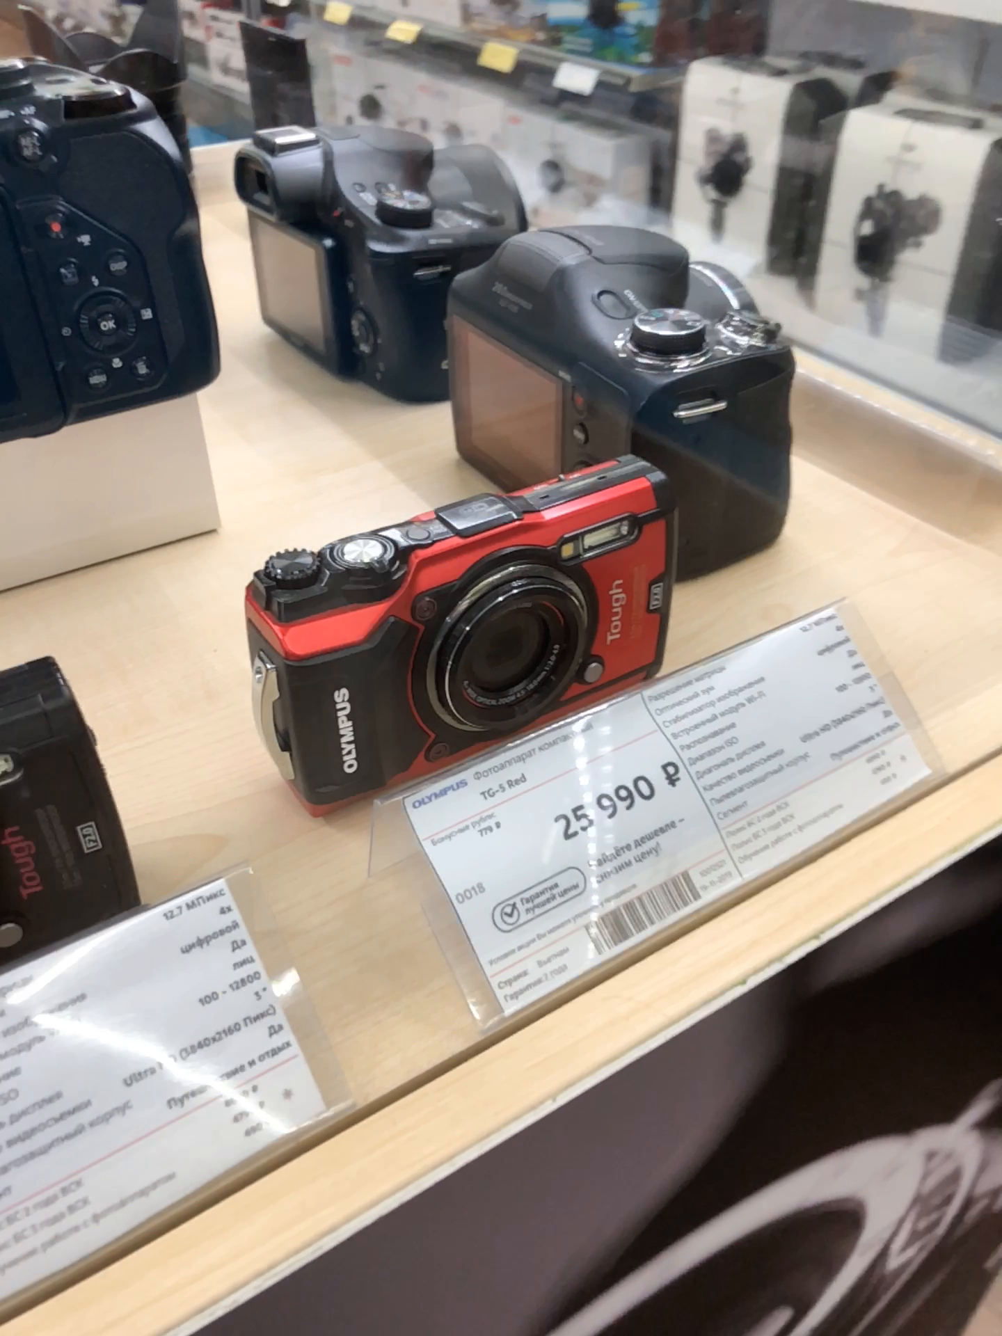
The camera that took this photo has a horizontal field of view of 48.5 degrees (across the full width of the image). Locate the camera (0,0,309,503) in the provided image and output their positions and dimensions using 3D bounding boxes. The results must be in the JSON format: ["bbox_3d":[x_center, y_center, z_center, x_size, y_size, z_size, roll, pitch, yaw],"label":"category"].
[{"bbox_3d":[-0.154,-0.131,0.320,0.147,0.086,0.127,-21,41,-24],"label":"camera"}]

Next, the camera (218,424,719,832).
[{"bbox_3d":[-0.004,-0.013,0.278,0.119,0.061,0.030,-21,41,-25],"label":"camera"}]

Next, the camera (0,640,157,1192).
[{"bbox_3d":[-0.136,0.045,0.221,0.117,0.061,0.030,-21,41,-25],"label":"camera"}]

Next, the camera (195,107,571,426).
[{"bbox_3d":[-0.056,-0.192,0.511,0.102,0.086,0.159,-22,42,-25],"label":"camera"}]

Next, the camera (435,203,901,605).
[{"bbox_3d":[0.049,-0.095,0.374,0.094,0.078,0.117,-21,41,-24],"label":"camera"}]
